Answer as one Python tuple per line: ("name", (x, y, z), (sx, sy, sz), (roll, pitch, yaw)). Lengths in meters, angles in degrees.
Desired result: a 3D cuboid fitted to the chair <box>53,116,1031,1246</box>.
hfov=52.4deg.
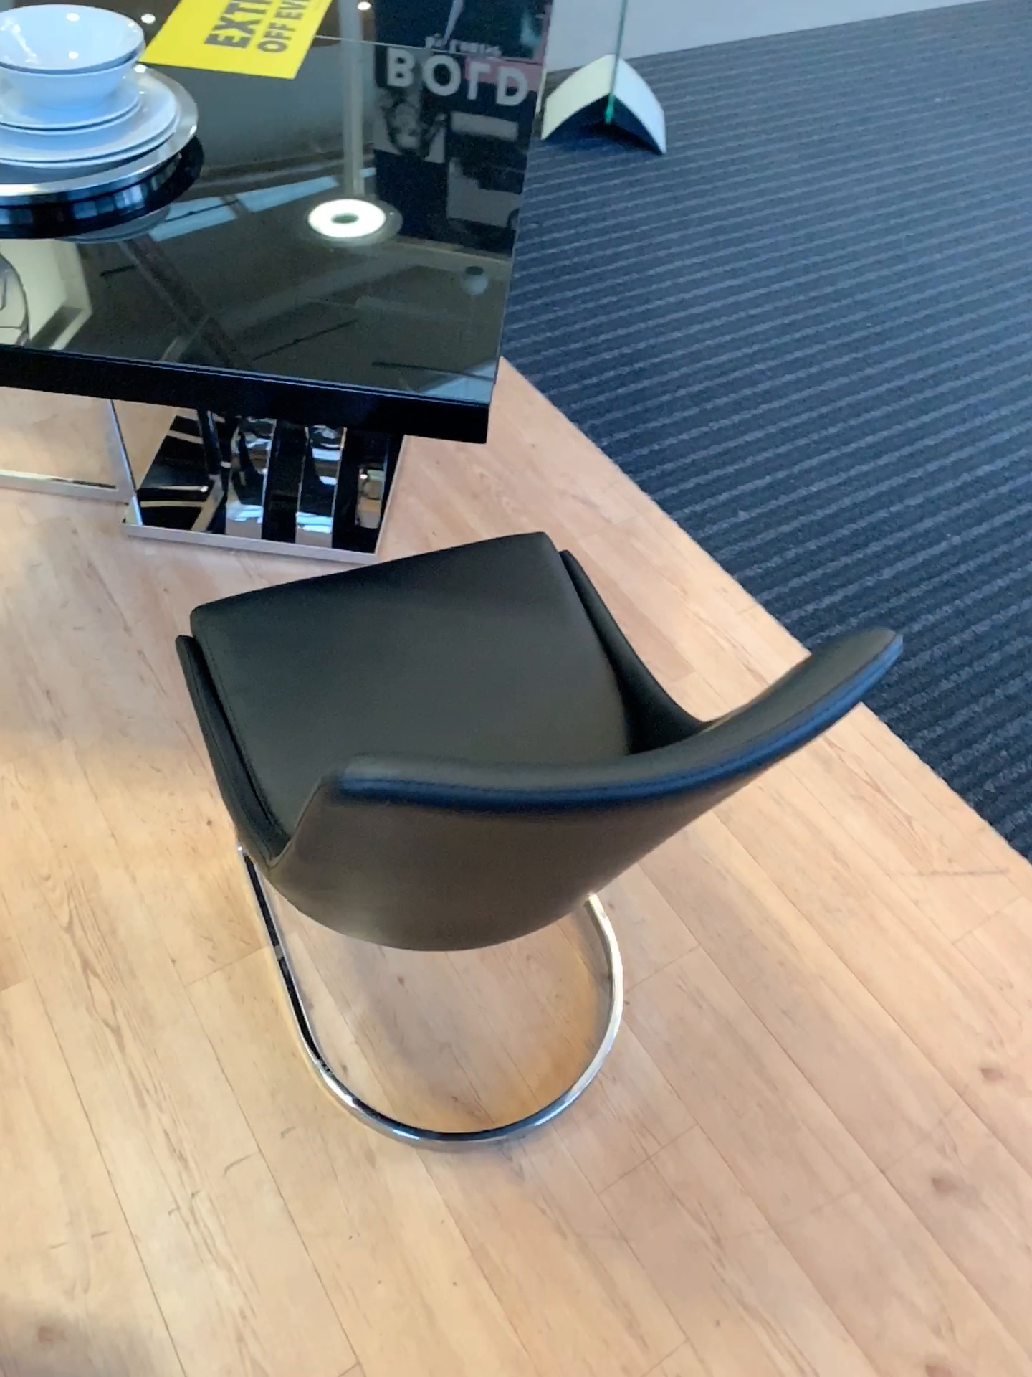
("chair", (-0.038, 0.017, 1.035), (0.506, 0.813, 0.633), (-16, 53, -19))
